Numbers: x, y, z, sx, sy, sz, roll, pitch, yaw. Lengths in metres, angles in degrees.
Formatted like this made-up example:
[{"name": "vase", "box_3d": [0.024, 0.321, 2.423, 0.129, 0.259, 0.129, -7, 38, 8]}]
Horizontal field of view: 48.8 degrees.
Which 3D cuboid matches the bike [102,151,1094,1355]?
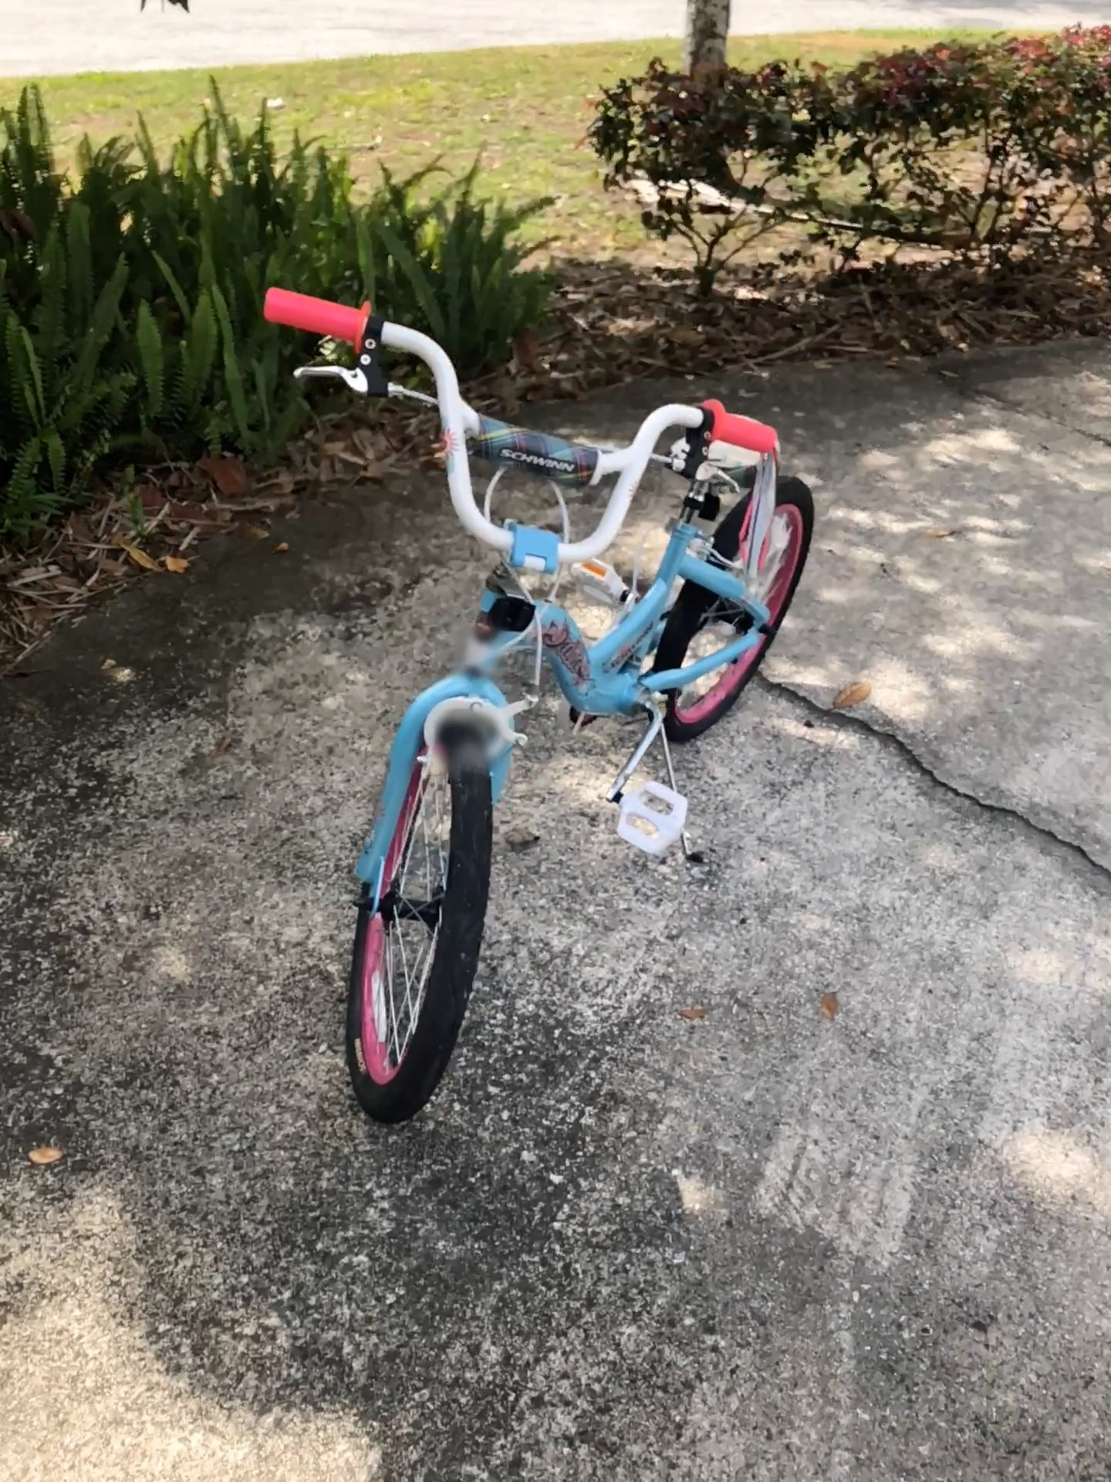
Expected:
[{"name": "bike", "box_3d": [0.191, -0.177, 1.652, 0.699, 0.924, 1.315, 16, 37, 22]}]
